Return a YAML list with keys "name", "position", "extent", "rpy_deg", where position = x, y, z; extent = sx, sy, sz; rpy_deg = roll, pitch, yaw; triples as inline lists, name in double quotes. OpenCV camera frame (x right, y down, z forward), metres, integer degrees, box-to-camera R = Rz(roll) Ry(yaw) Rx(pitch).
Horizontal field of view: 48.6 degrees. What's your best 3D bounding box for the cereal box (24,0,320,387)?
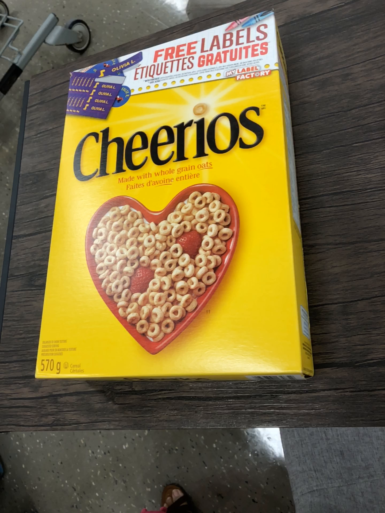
- name: "cereal box"
  position: [-0.018, -0.050, 0.428]
  extent: [0.240, 0.100, 0.340]
  rpy_deg: [-7, 71, 20]
